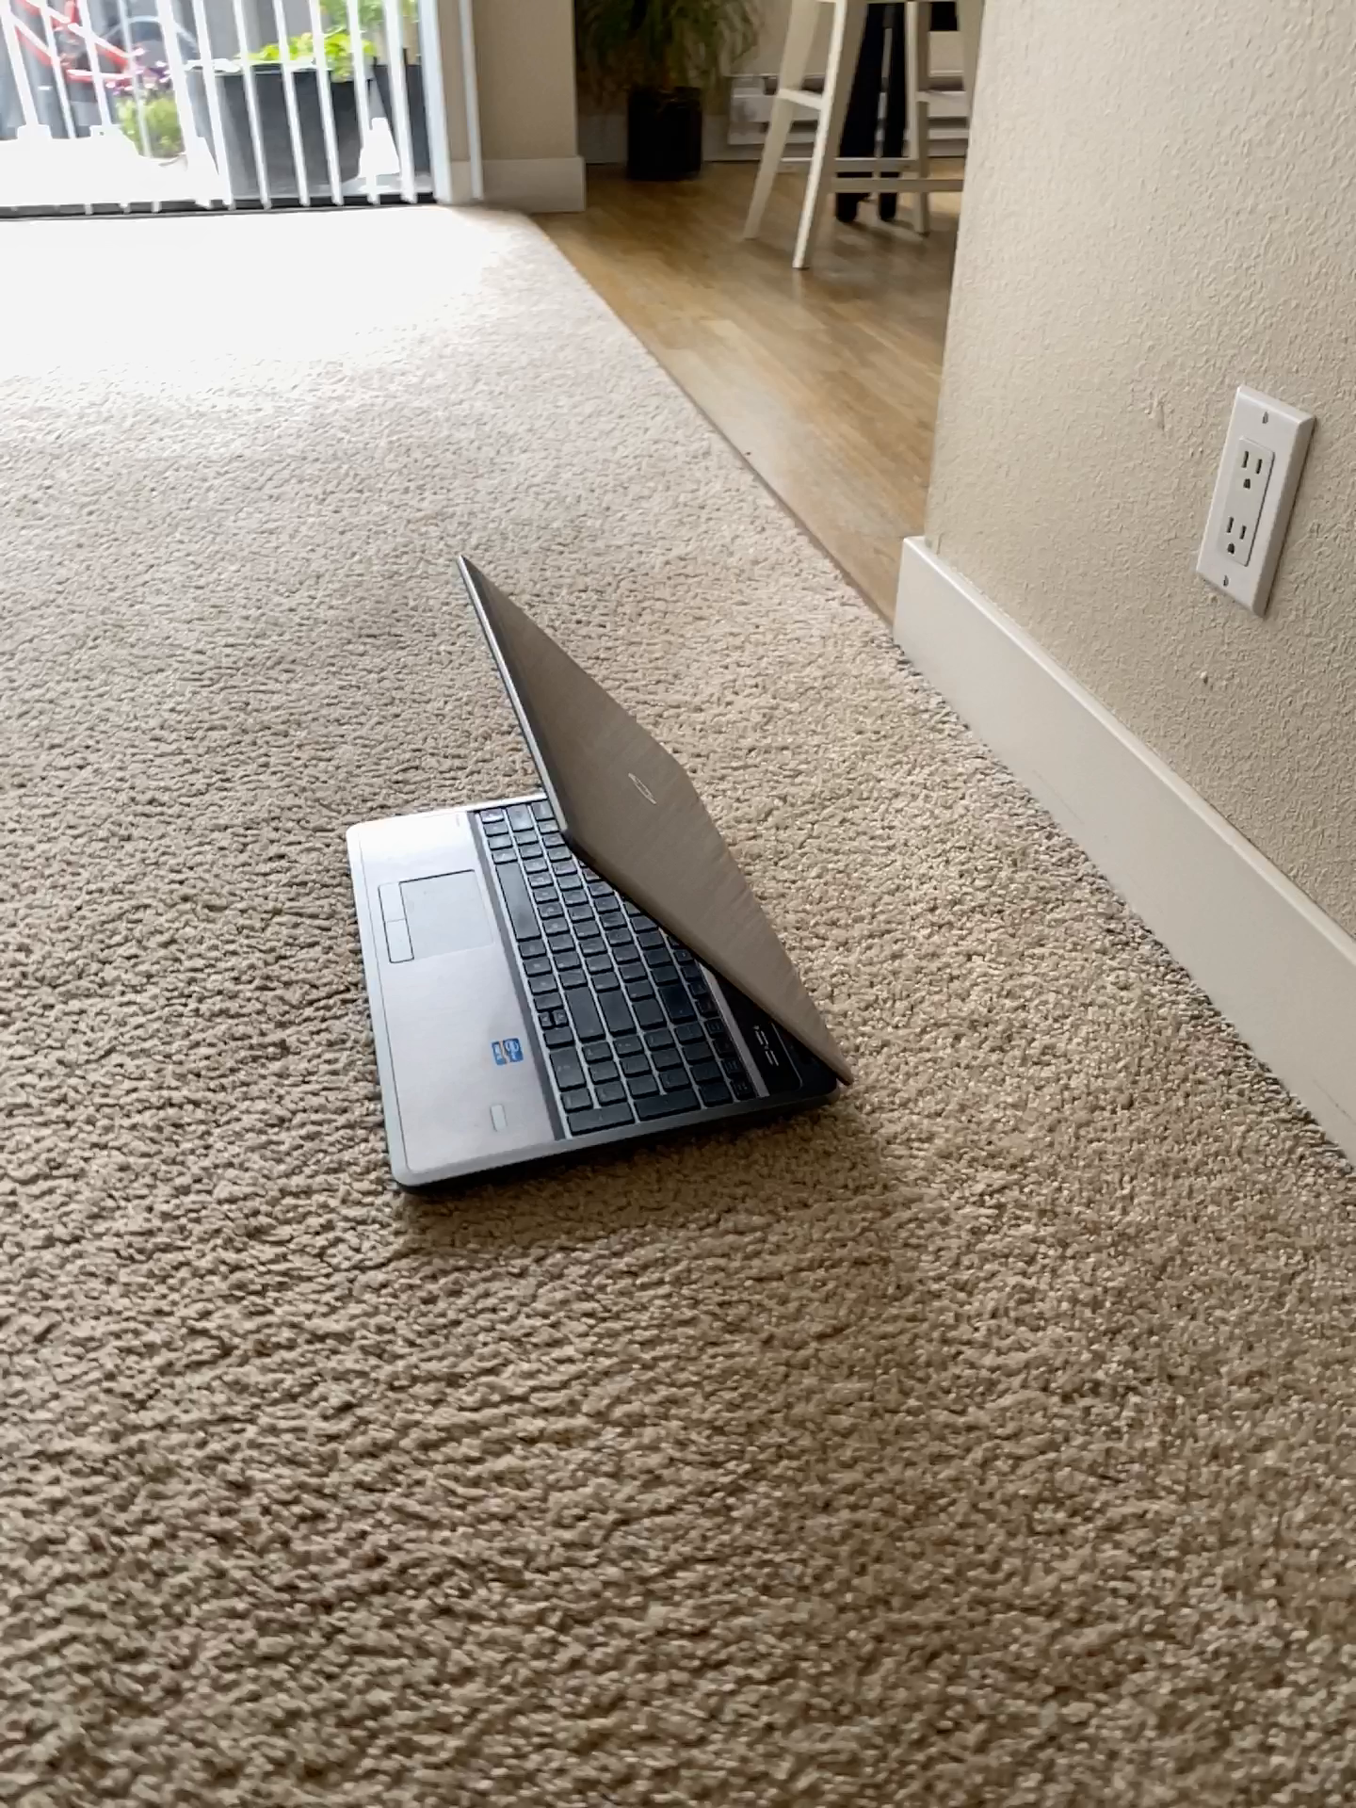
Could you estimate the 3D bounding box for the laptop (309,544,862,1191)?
[{"bbox_3d":[-0.079,-0.051,0.857,0.248,0.189,0.372,-10,37,-12],"label":"laptop"}]
